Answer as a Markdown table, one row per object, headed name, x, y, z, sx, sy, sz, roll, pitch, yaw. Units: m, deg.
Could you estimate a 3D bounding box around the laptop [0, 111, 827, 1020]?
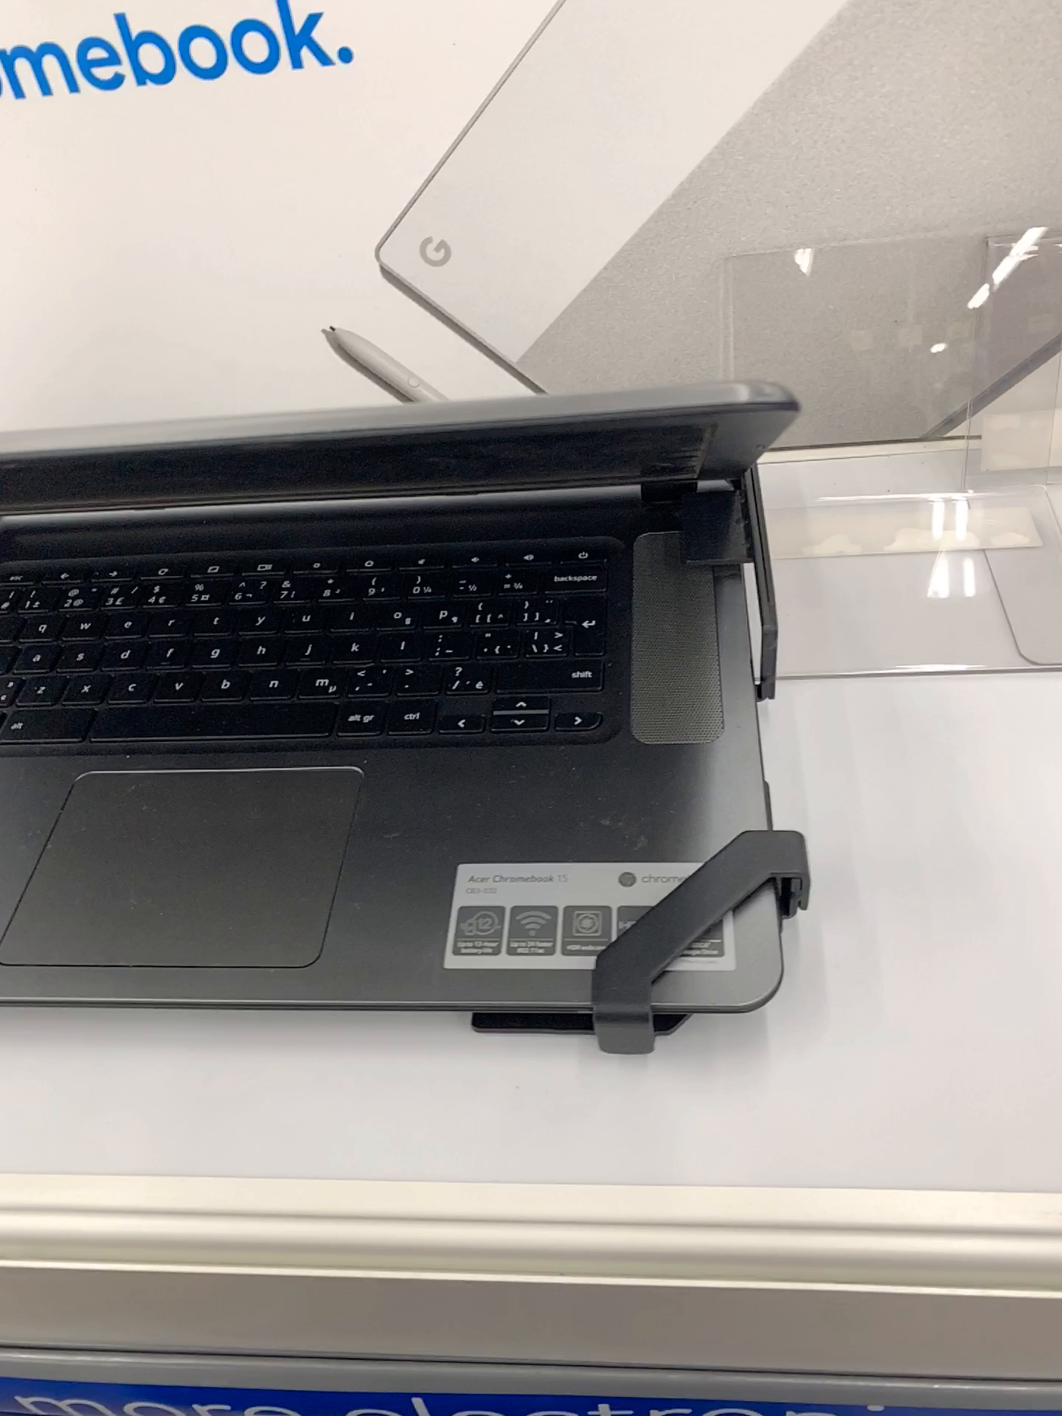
| name | x | y | z | sx | sy | sz | roll | pitch | yaw |
| --- | --- | --- | --- | --- | --- | --- | --- | --- | --- |
| laptop | -0.094 | -0.042 | 0.283 | 0.303 | 0.119 | 0.198 | -1 | 46 | 8 |
